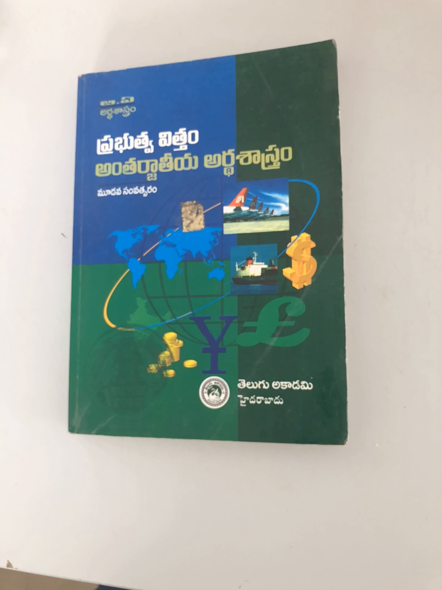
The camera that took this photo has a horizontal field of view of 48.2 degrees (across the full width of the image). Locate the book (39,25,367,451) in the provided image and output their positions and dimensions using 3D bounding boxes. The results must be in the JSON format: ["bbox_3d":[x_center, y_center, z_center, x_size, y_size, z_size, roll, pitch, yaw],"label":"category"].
[{"bbox_3d":[-0.012,-0.032,0.317,0.190,0.050,0.240,-2,83,12],"label":"book"}]
